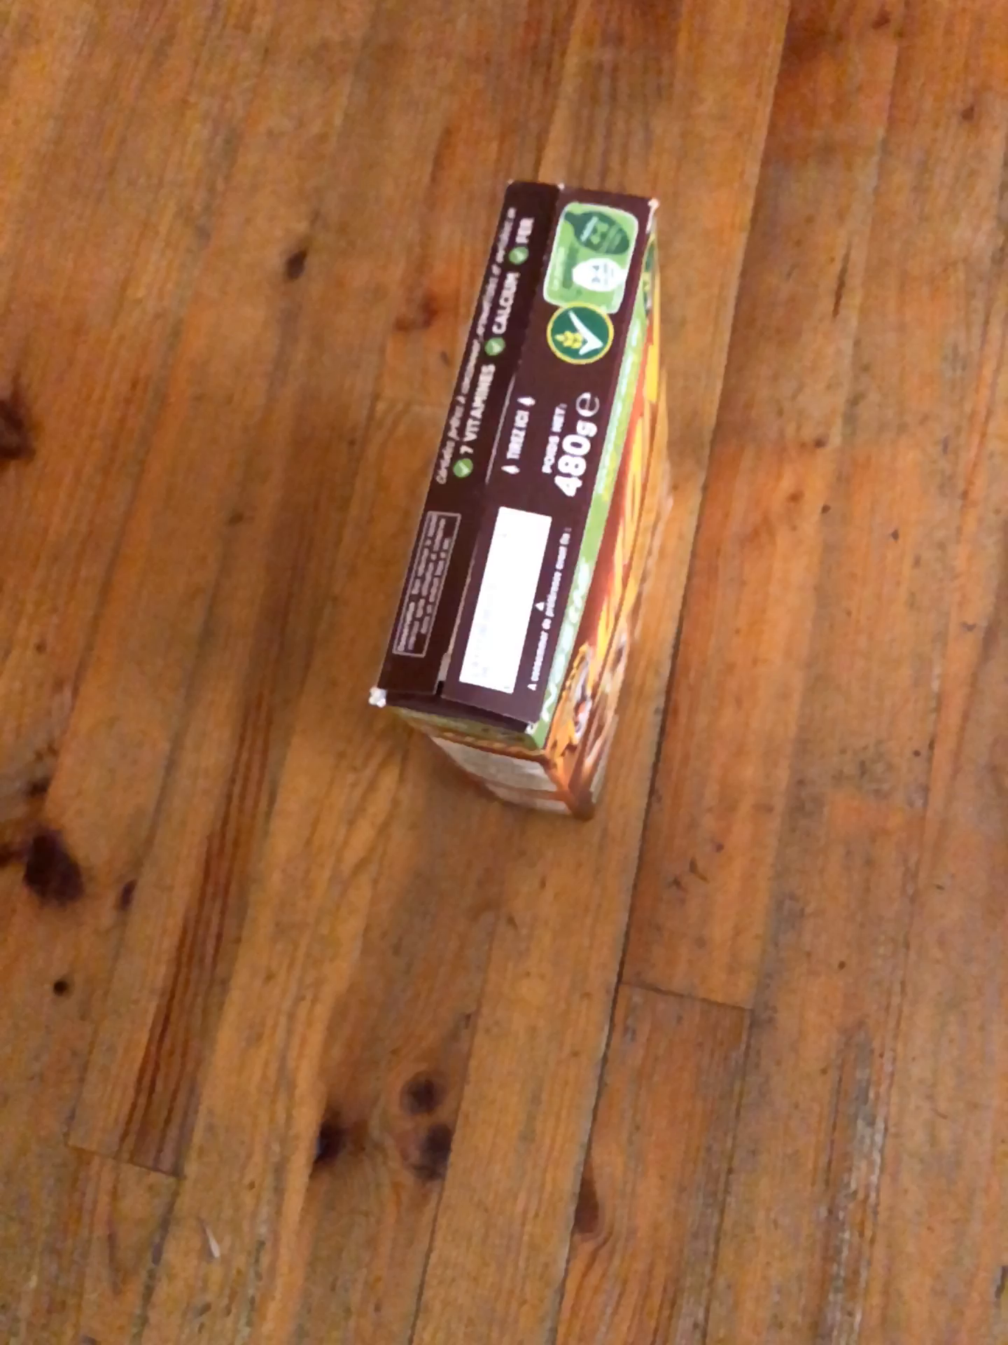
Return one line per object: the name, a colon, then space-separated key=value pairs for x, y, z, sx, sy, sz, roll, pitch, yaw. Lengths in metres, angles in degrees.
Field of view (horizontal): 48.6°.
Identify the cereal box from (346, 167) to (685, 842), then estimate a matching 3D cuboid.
cereal box: x=0.028 y=-0.043 z=0.499 sx=0.060 sy=0.280 sz=0.200 roll=12 pitch=78 yaw=13
